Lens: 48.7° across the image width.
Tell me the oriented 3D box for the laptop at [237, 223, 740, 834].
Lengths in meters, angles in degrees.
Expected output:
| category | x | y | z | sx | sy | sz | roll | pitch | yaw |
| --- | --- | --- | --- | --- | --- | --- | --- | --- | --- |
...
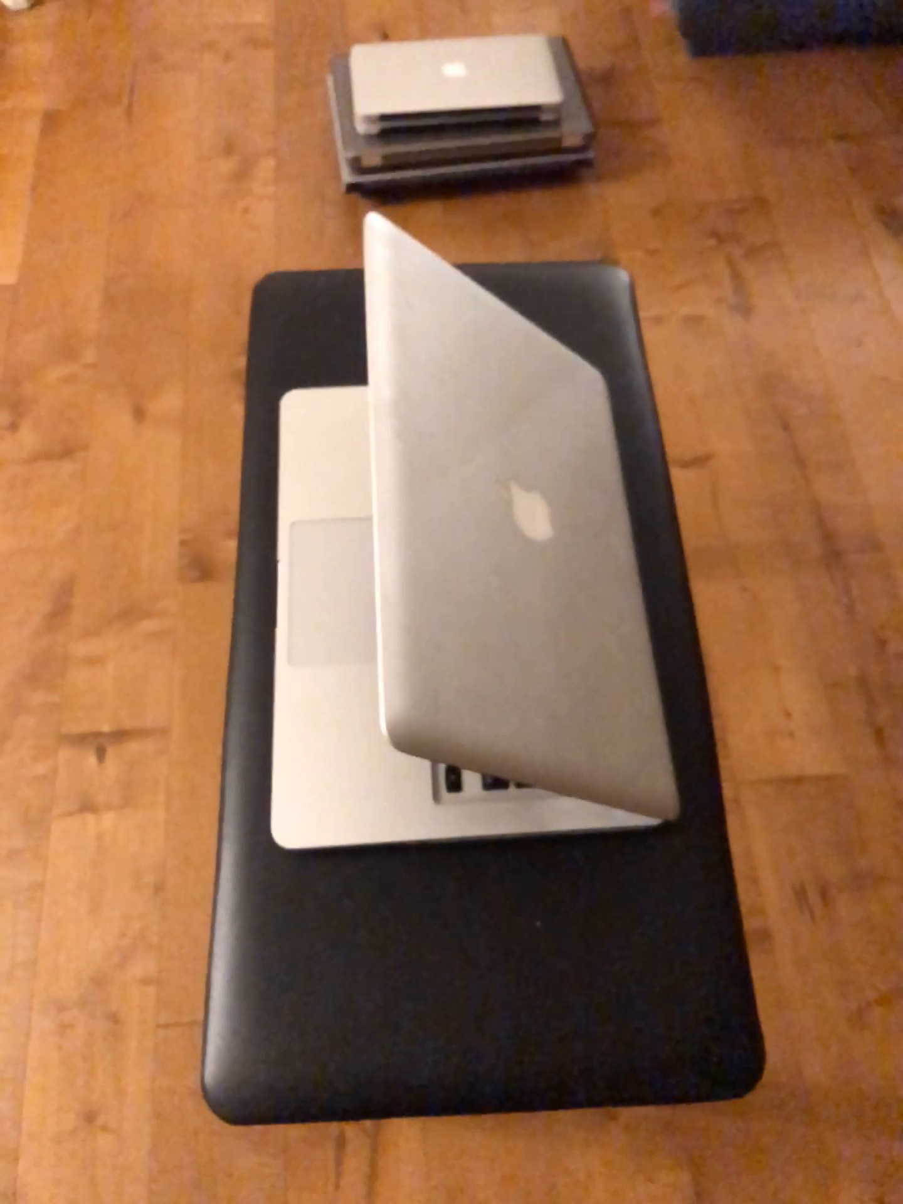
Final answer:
| category | x | y | z | sx | sy | sz | roll | pitch | yaw |
| --- | --- | --- | --- | --- | --- | --- | --- | --- | --- |
| laptop | 0.014 | -0.047 | 0.557 | 0.208 | 0.144 | 0.310 | -2 | 59 | 0 |
